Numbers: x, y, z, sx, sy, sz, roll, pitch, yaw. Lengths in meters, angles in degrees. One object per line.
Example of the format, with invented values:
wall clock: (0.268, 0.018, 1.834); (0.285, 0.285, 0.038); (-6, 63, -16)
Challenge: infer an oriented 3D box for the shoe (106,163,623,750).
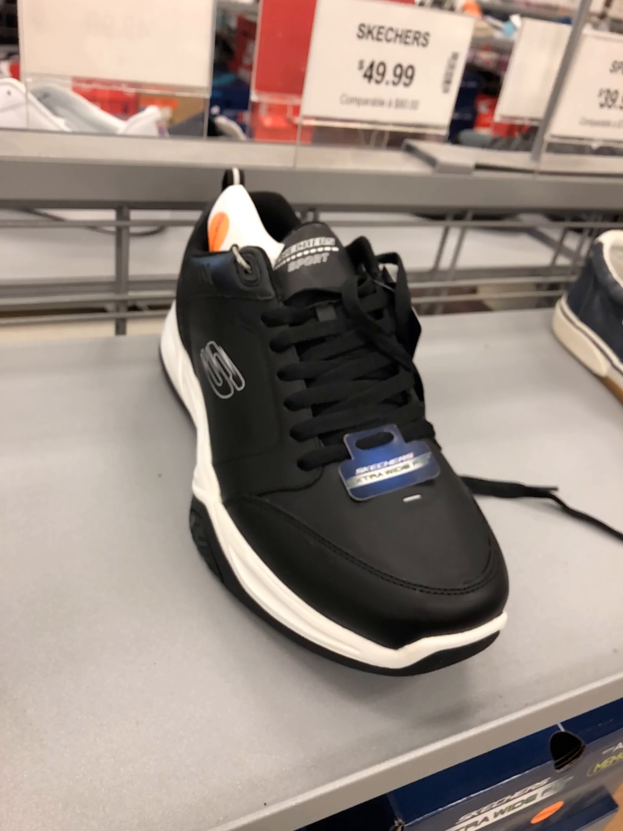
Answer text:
shoe: (-0.015, -0.026, 0.388); (0.130, 0.109, 0.352); (-6, 38, -25)
